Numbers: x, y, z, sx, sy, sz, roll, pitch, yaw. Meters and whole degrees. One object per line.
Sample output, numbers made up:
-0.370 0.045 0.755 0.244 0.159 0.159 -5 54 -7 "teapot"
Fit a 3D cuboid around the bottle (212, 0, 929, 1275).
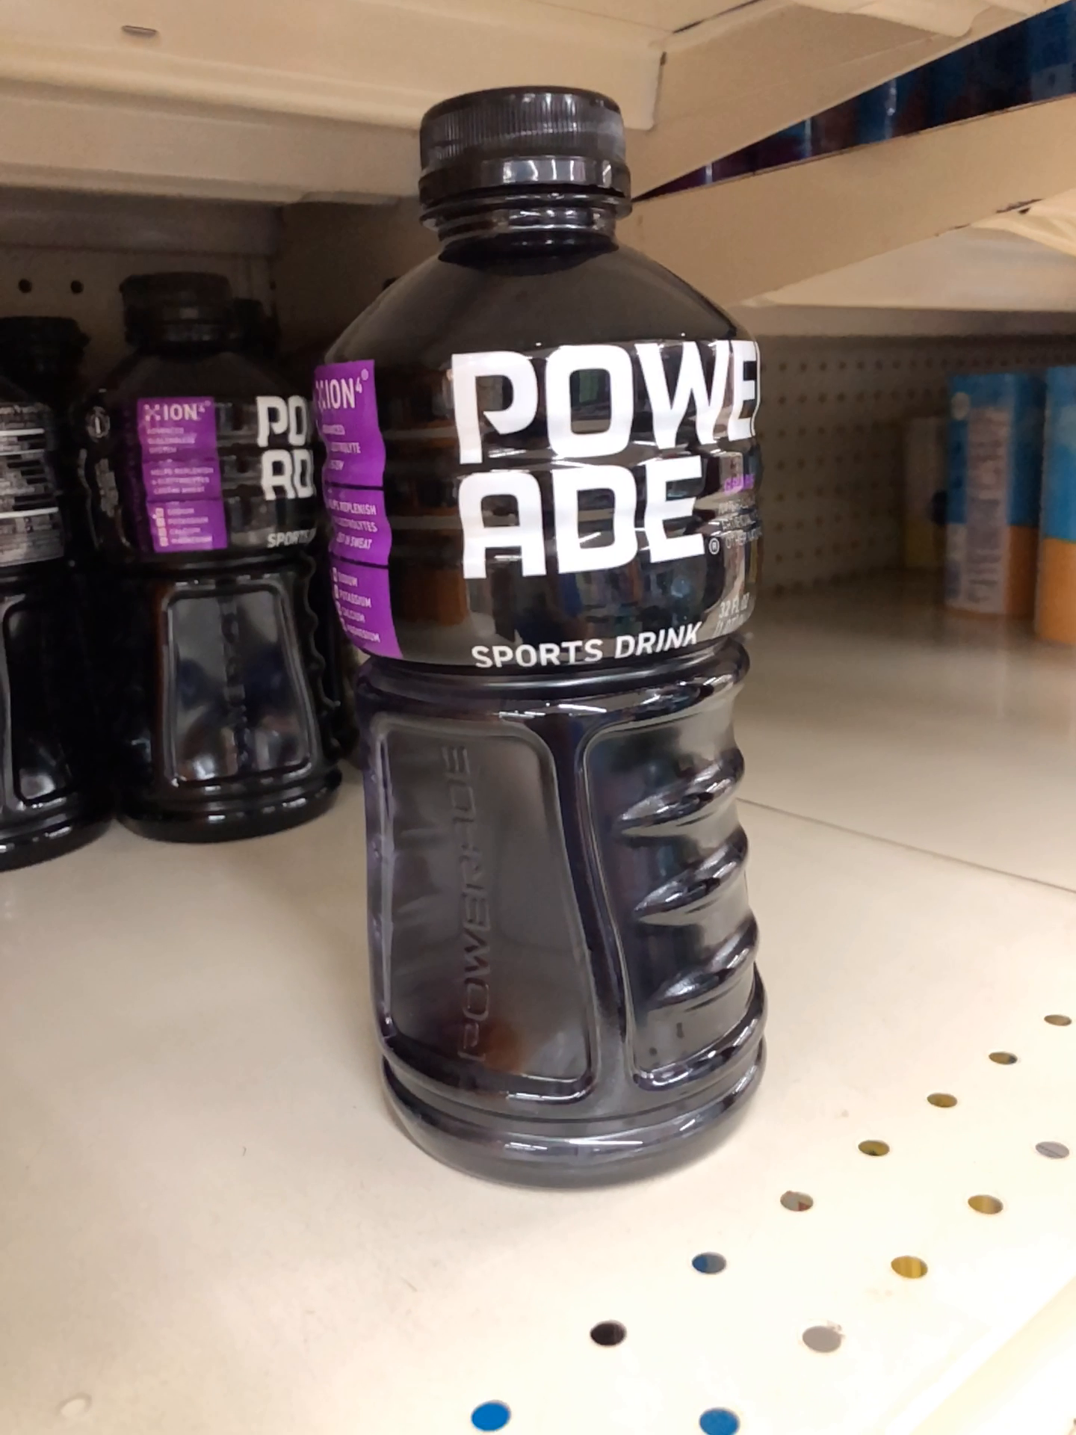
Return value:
0.009 -0.020 0.250 0.098 0.210 0.090 -2 15 1 "bottle"
